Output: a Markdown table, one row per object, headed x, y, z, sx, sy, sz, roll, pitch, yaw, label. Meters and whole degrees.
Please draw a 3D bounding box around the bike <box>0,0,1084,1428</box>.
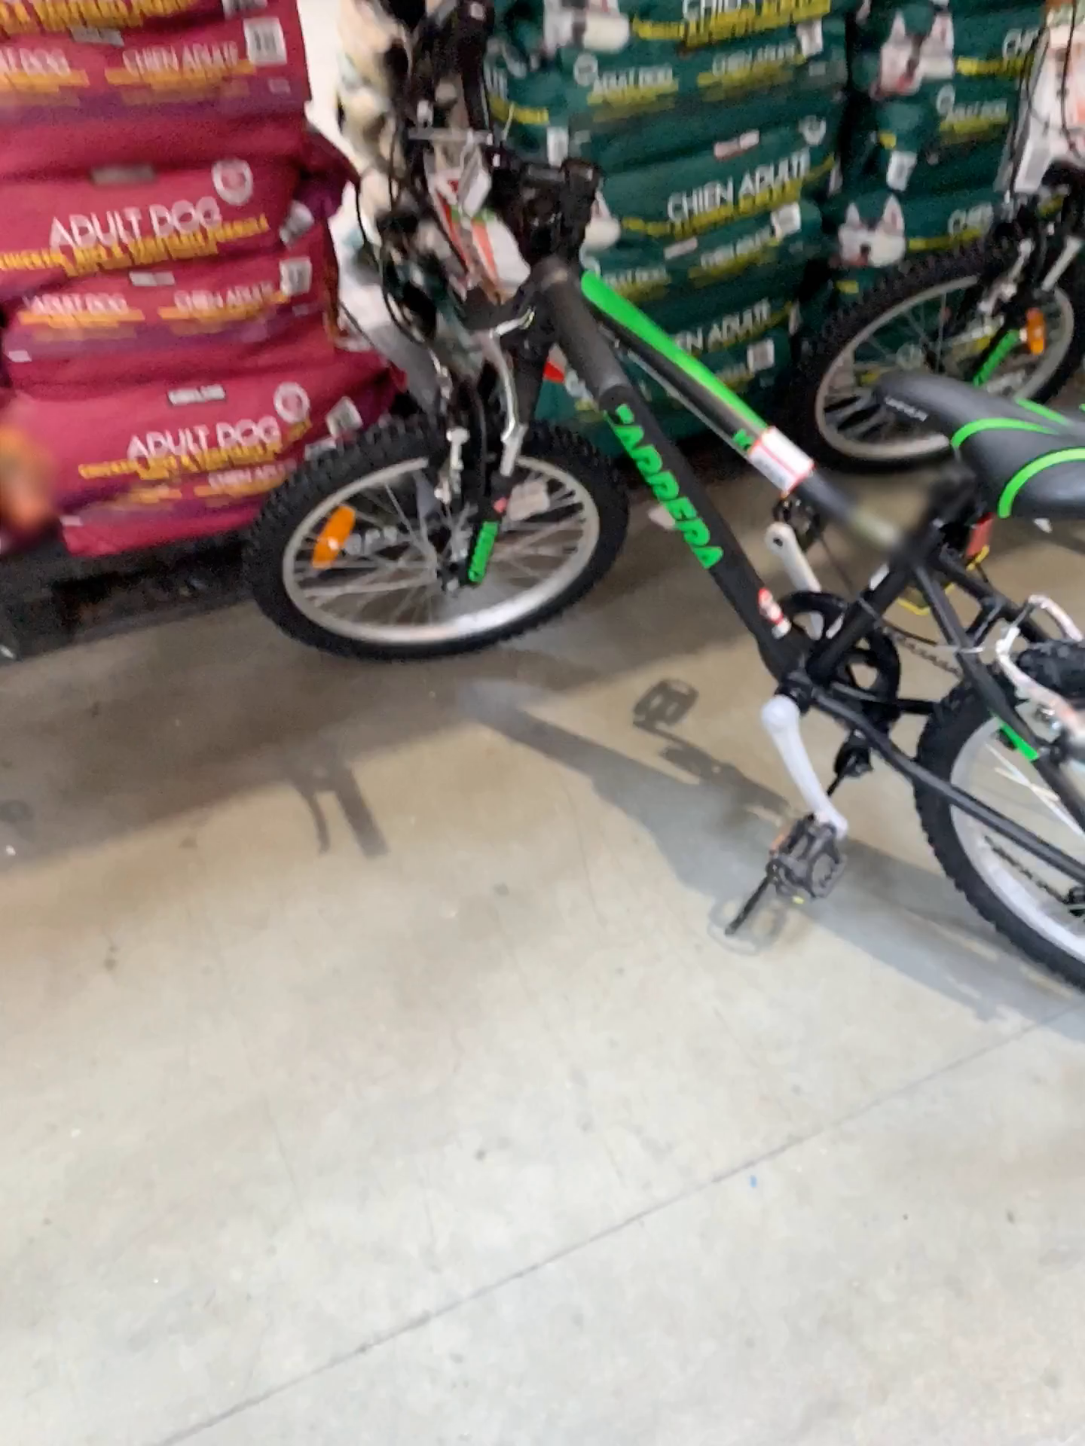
| x | y | z | sx | sy | sz | roll | pitch | yaw | label |
| --- | --- | --- | --- | --- | --- | --- | --- | --- | --- |
| 0.233 | -0.112 | 1.056 | 1.305 | 0.855 | 0.711 | 21 | 48 | 18 | bike |
